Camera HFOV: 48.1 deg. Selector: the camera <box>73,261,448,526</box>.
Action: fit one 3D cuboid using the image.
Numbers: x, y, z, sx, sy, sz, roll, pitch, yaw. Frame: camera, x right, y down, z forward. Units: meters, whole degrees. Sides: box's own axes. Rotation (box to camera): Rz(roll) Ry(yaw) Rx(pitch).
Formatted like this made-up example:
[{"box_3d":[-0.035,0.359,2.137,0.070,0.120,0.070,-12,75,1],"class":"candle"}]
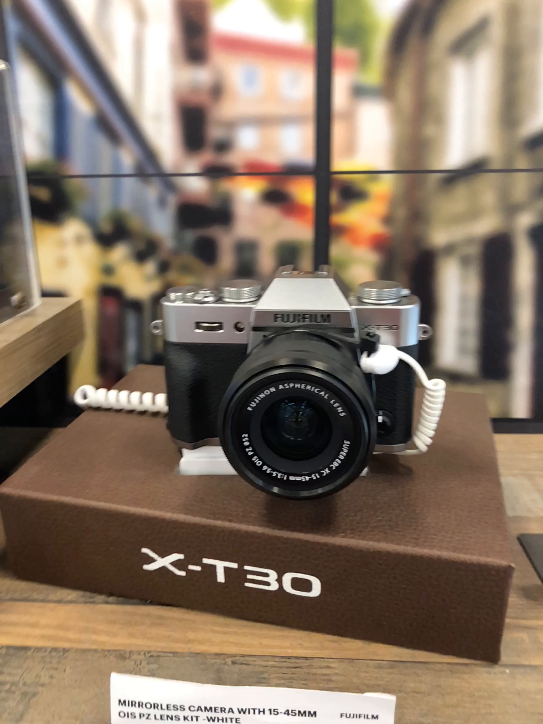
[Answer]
[{"box_3d":[0.000,0.005,0.263,0.130,0.080,0.090,2,20,8],"class":"camera"}]
